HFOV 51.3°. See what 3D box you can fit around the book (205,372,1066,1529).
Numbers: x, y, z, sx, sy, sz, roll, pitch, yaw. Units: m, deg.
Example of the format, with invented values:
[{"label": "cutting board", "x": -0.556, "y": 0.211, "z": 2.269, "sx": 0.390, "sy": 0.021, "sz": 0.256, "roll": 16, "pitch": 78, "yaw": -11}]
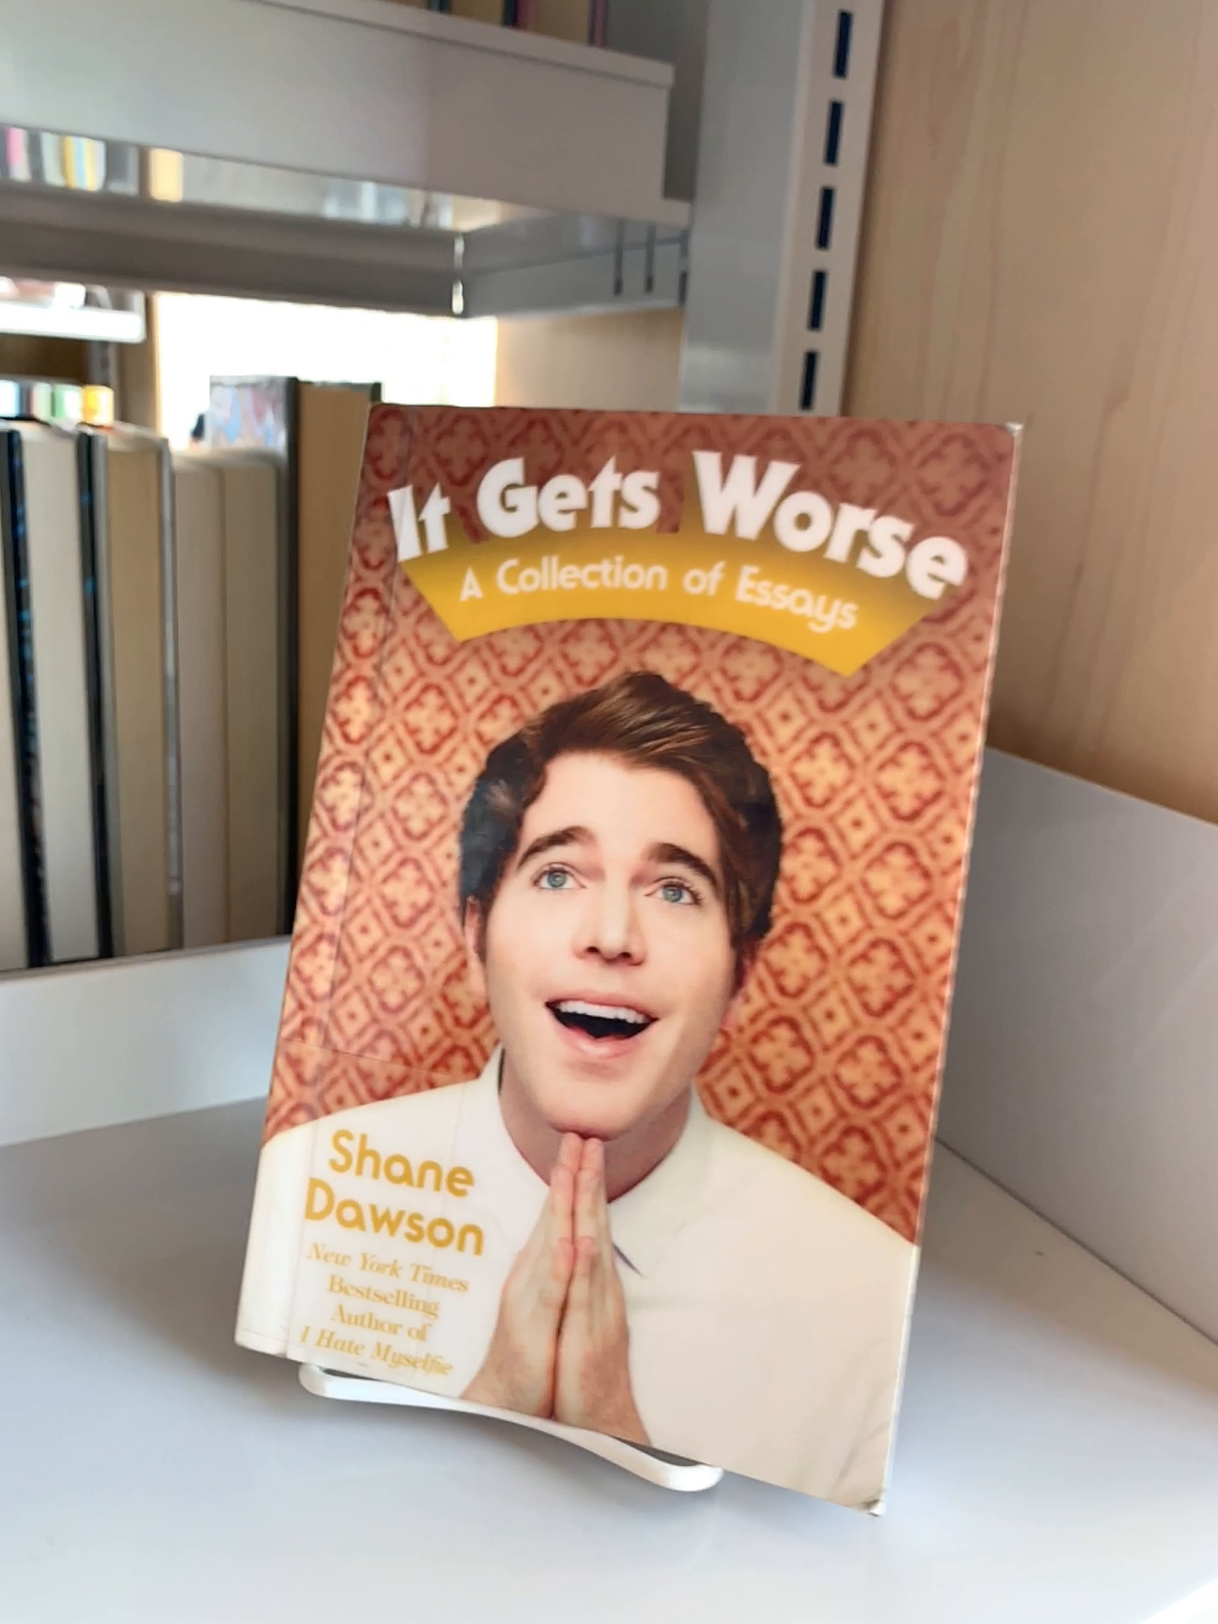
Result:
[{"label": "book", "x": 0.002, "y": 0.022, "z": 0.268, "sx": 0.149, "sy": 0.210, "sz": 0.030, "roll": 8, "pitch": 2, "yaw": 13}]
